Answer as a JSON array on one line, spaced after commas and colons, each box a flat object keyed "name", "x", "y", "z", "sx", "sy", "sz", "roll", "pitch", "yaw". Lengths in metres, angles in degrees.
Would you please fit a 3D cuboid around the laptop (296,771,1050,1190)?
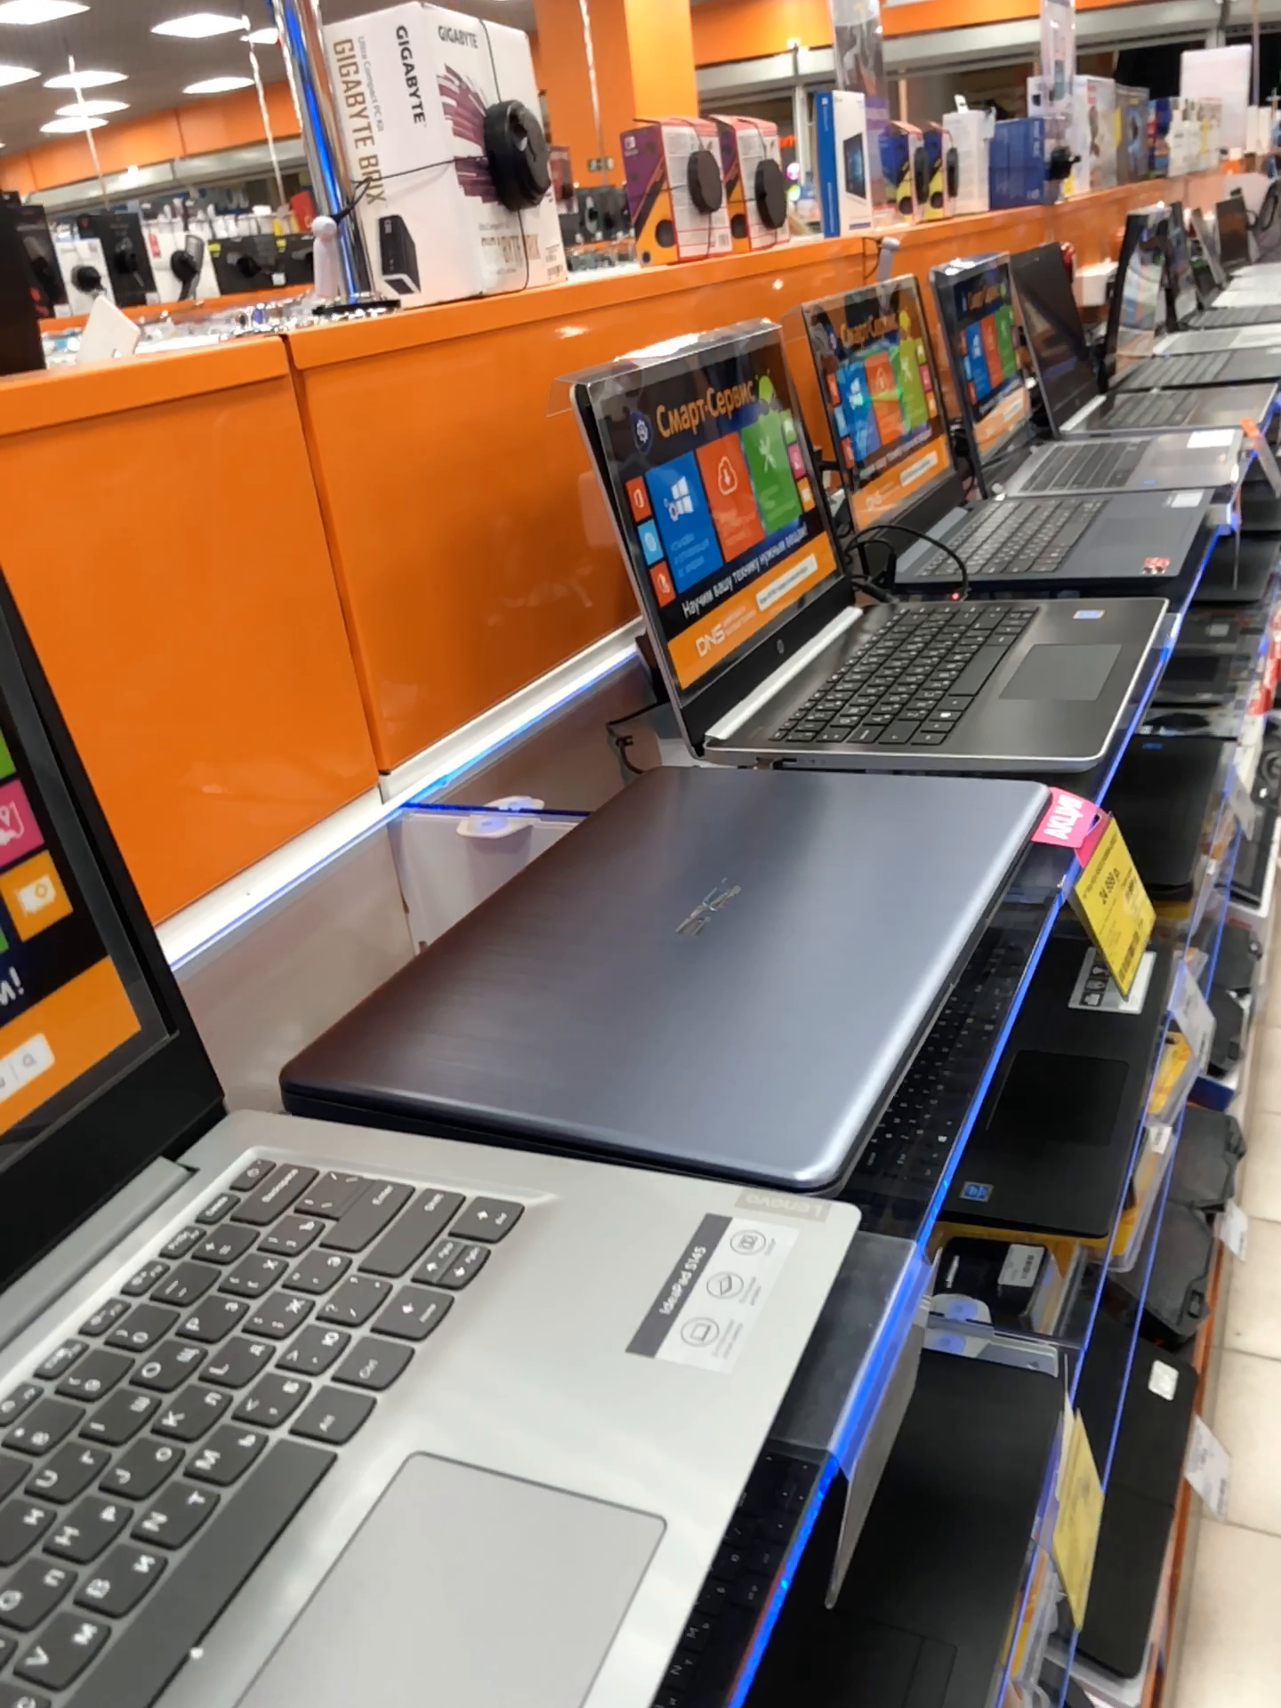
[{"name": "laptop", "x": 0.036, "y": 0.028, "z": 0.609, "sx": 0.213, "sy": 0.001, "sz": 0.325, "roll": 5, "pitch": 26, "yaw": 26}]

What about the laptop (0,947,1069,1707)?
[{"name": "laptop", "x": -0.004, "y": 0.245, "z": 0.619, "sx": 0.312, "sy": 0.227, "sz": 0.378, "roll": 4, "pitch": 26, "yaw": 26}]

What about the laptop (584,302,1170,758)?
[{"name": "laptop", "x": 0.173, "y": -0.216, "z": 0.891, "sx": 0.271, "sy": 0.205, "sz": 0.337, "roll": 4, "pitch": 24, "yaw": 24}]

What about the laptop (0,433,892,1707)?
[{"name": "laptop", "x": -0.143, "y": 0.068, "z": 0.287, "sx": 0.289, "sy": 0.224, "sz": 0.355, "roll": 3, "pitch": 25, "yaw": 24}]
